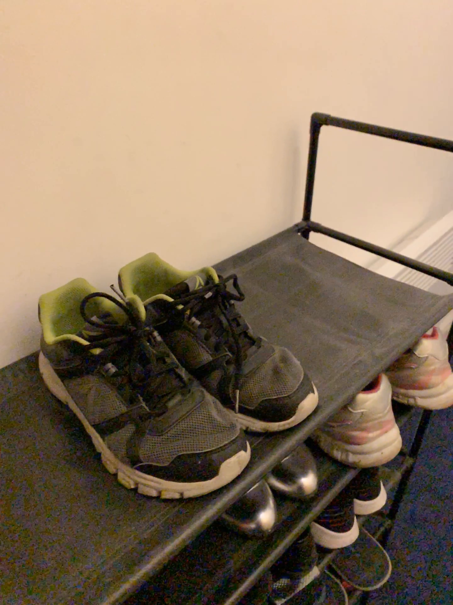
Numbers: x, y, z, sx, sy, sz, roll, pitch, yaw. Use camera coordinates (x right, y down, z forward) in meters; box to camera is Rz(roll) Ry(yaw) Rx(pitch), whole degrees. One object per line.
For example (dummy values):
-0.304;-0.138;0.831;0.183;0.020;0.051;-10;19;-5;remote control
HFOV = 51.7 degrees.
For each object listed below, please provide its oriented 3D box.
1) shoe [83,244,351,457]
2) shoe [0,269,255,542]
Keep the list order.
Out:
-0.021;0.029;0.478;0.261;0.069;0.111;26;42;36;shoe
-0.101;0.072;0.434;0.101;0.099;0.251;-30;42;-36;shoe
